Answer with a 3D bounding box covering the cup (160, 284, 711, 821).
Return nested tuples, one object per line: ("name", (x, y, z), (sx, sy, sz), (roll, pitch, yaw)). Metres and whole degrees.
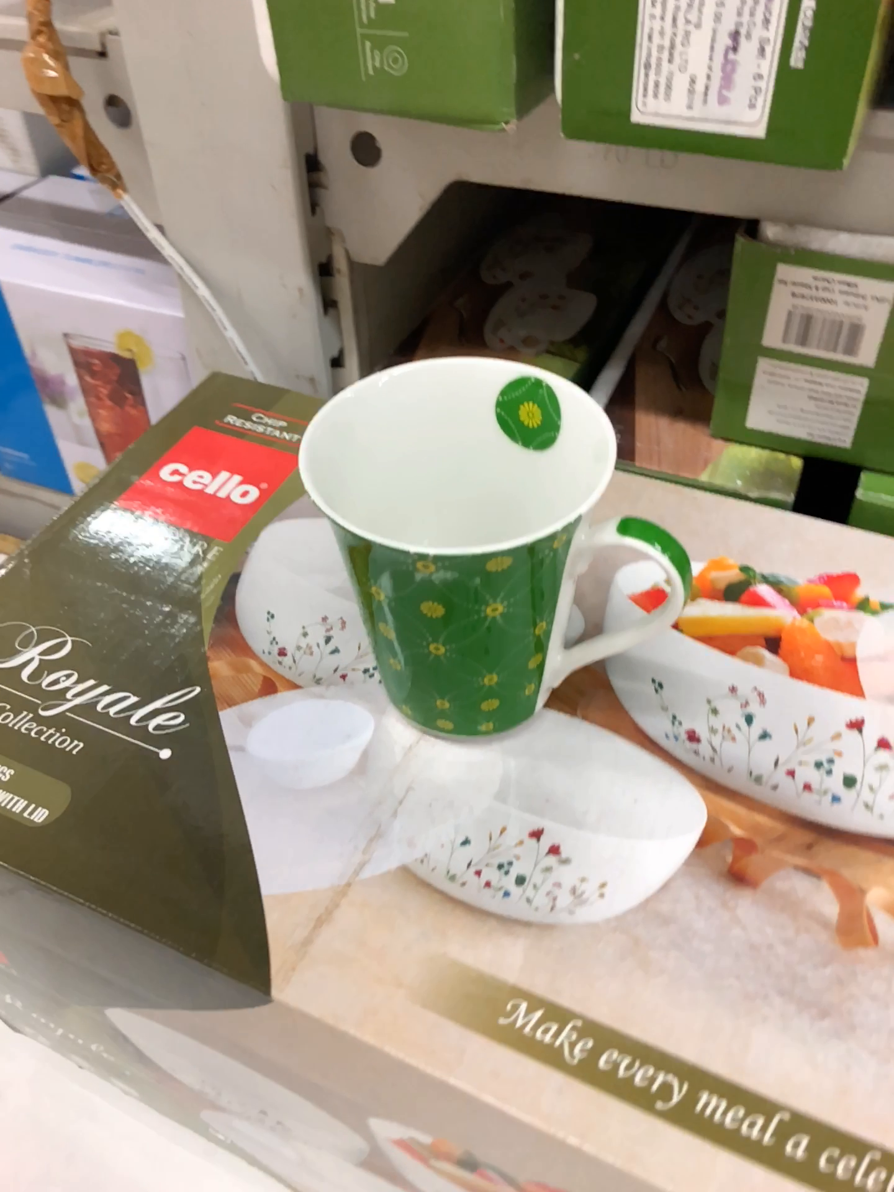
("cup", (0.002, -0.017, 0.279), (0.110, 0.089, 0.091), (17, 47, 18))
